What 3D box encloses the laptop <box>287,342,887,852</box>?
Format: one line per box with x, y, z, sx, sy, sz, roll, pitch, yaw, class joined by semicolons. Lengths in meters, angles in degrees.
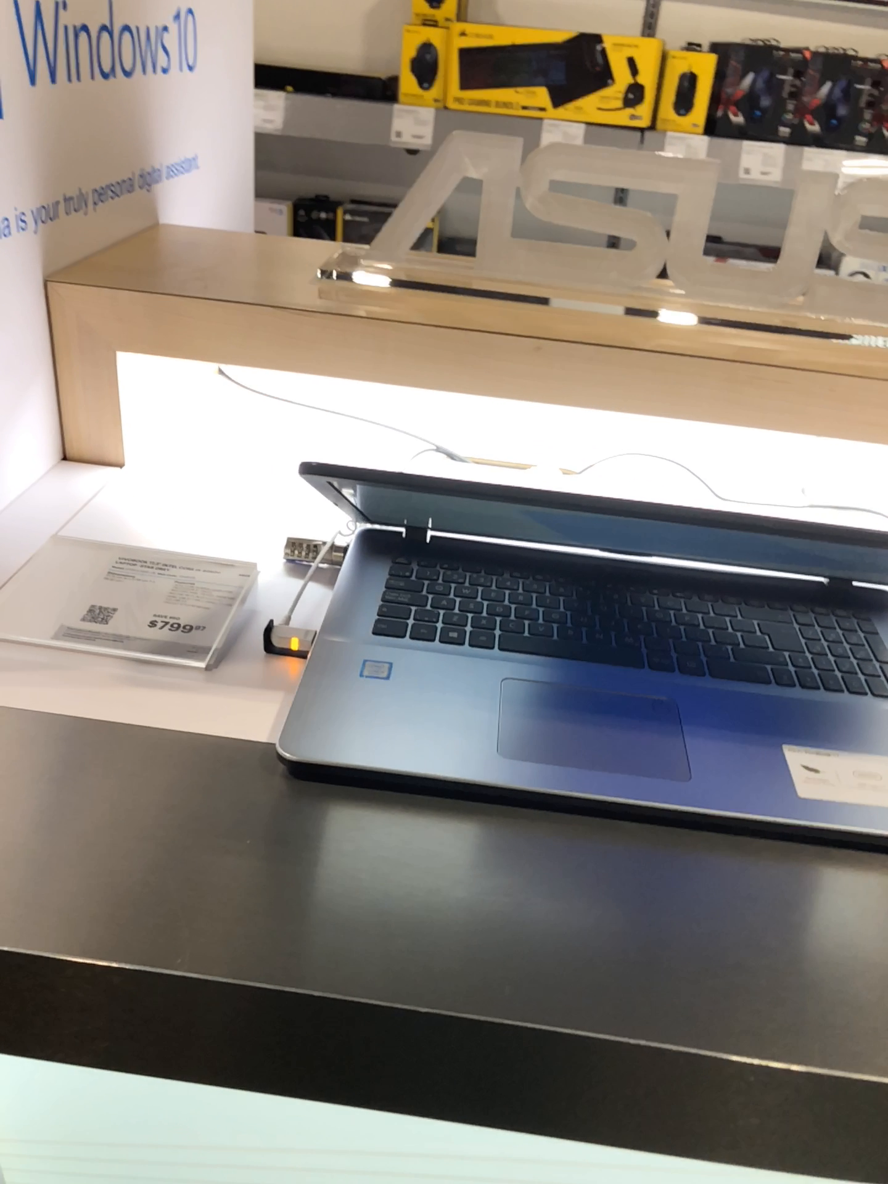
0.129;-0.019;0.579;0.390;0.144;0.260;7;31;2;laptop
